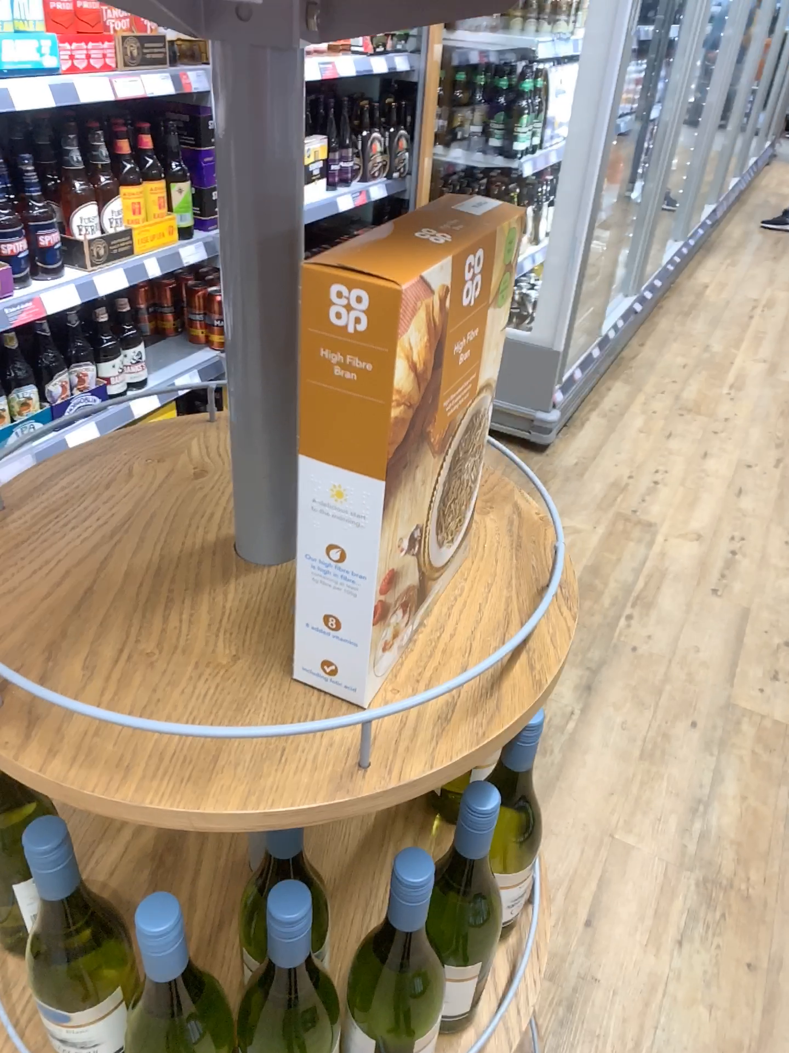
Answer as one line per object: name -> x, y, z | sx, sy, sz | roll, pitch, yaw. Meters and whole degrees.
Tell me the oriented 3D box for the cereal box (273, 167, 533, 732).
cereal box -> 0.004, -0.050, 0.488 | 0.060, 0.277, 0.202 | 17, 35, 17
